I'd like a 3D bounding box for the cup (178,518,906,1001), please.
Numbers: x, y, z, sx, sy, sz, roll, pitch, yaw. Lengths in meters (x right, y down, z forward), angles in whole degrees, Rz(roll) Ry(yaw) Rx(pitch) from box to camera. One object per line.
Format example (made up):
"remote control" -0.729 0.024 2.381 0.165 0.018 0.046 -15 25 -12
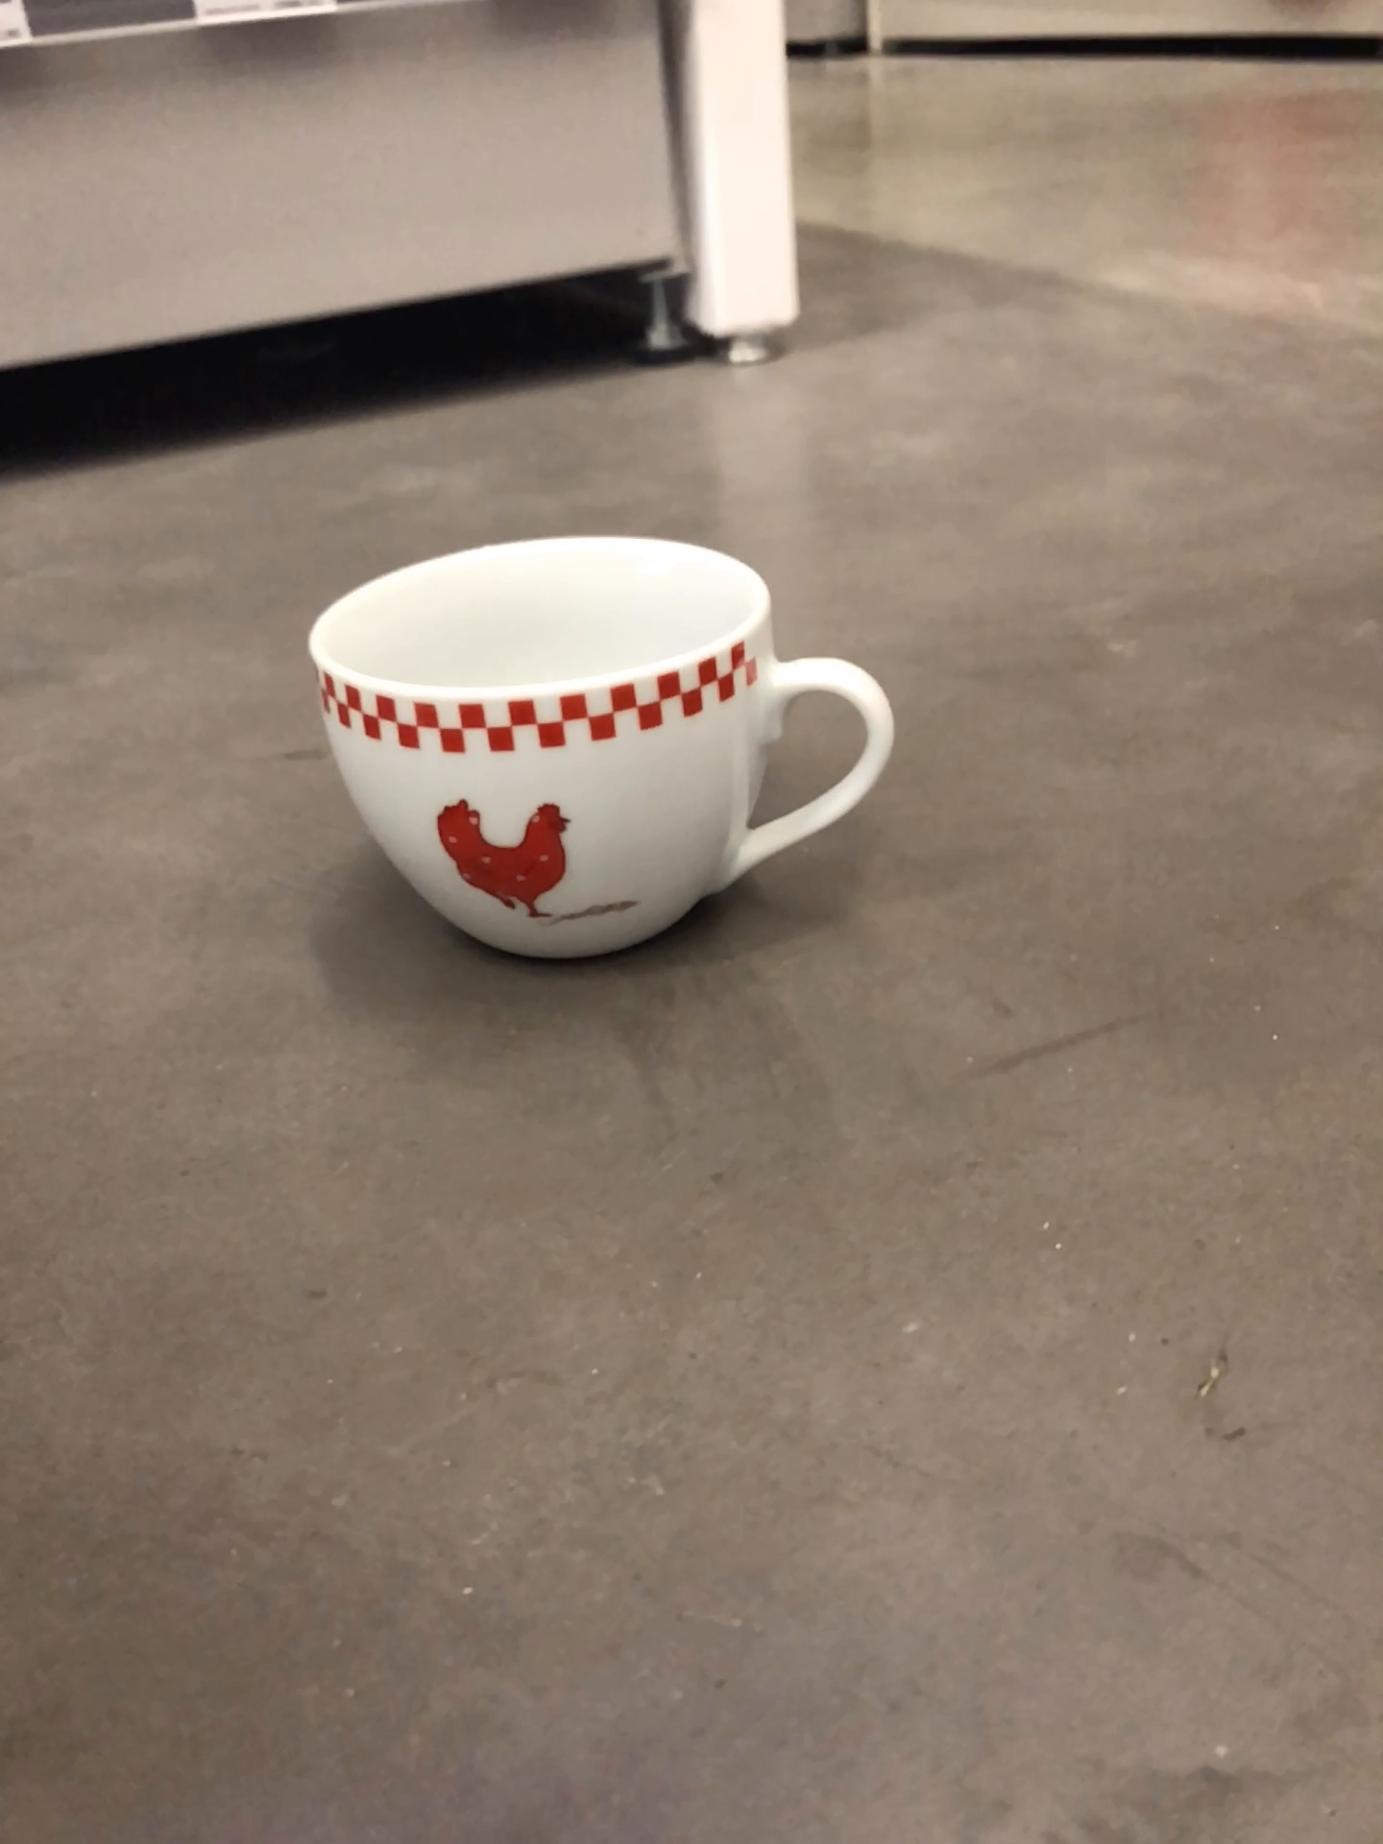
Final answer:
"cup" -0.019 -0.036 0.294 0.111 0.058 0.089 2 29 13
